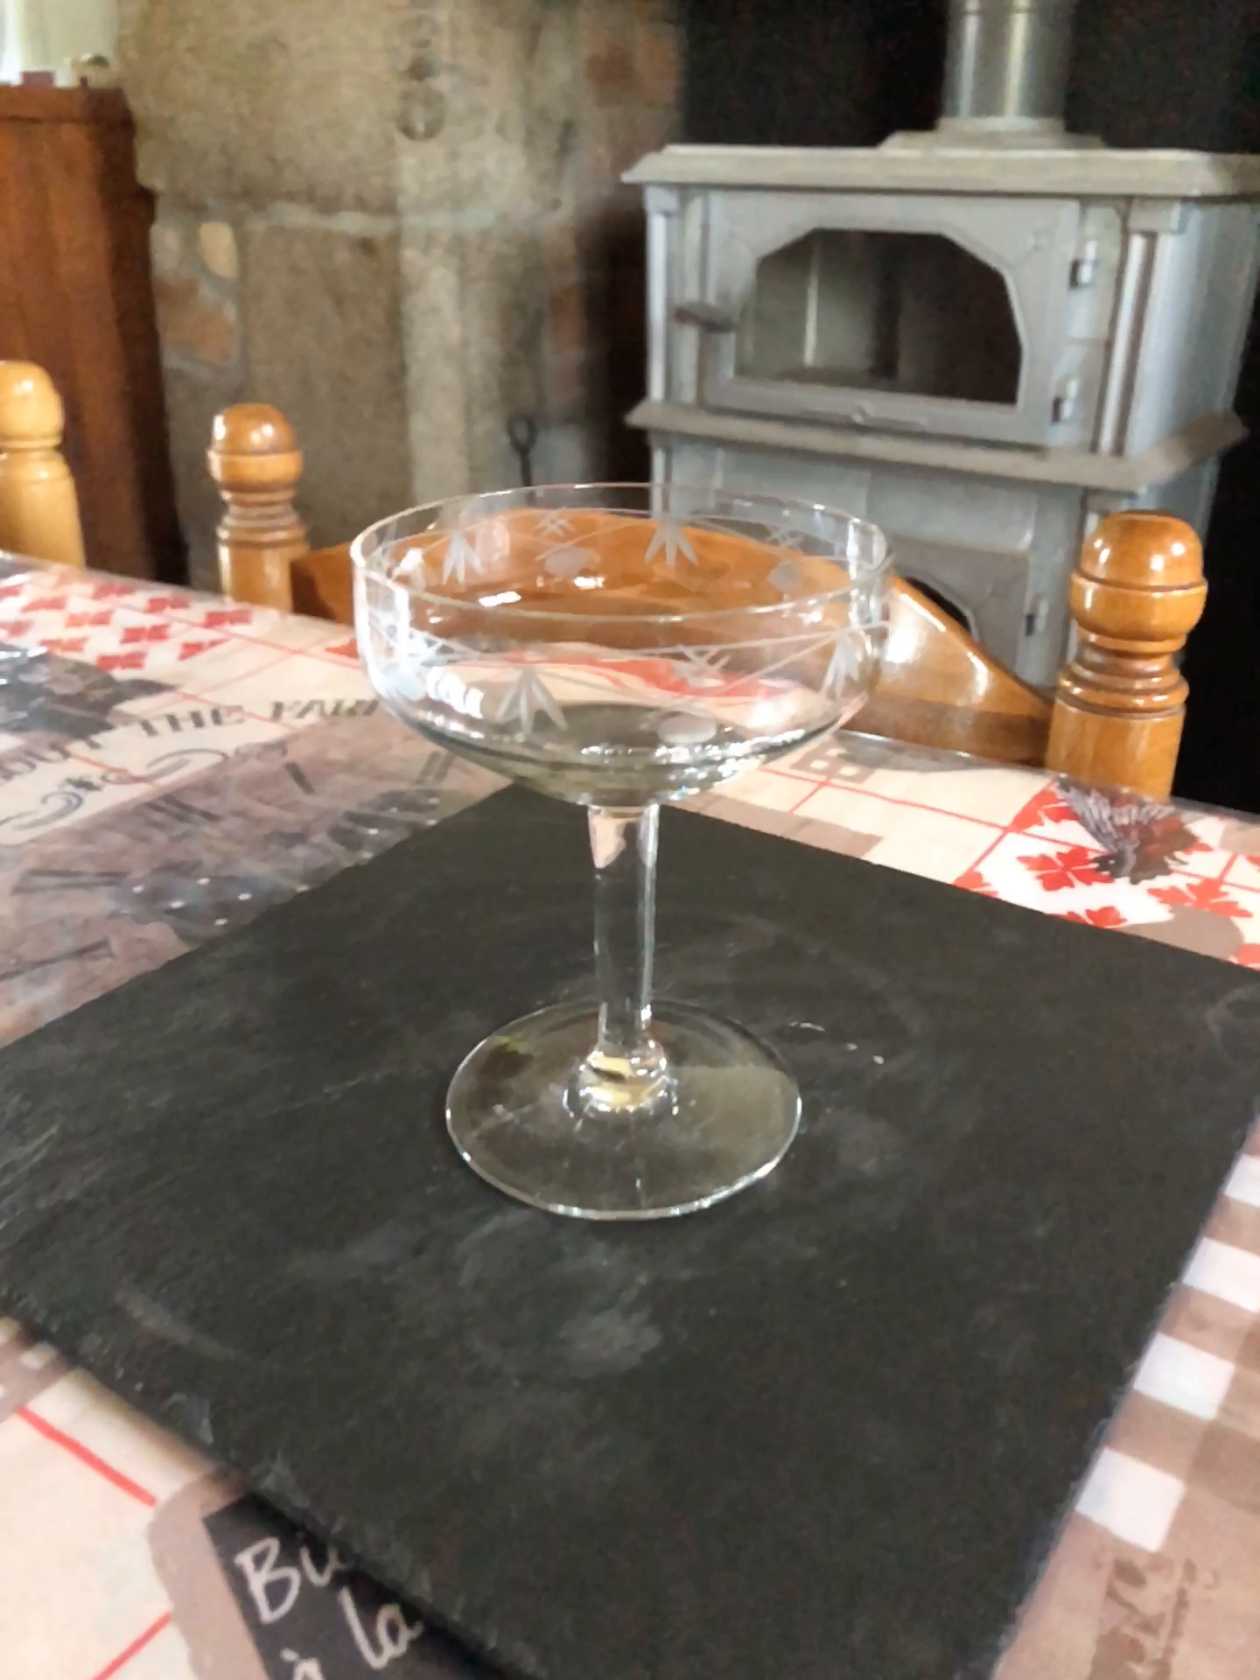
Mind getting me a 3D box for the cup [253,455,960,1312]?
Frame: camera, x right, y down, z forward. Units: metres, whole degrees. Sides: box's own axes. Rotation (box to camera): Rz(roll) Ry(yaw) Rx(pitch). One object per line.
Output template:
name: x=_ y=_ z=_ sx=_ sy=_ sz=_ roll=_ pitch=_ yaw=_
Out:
cup: x=0.001 y=-0.001 z=0.264 sx=0.090 sy=0.119 sz=0.091 roll=0 pitch=25 yaw=0
